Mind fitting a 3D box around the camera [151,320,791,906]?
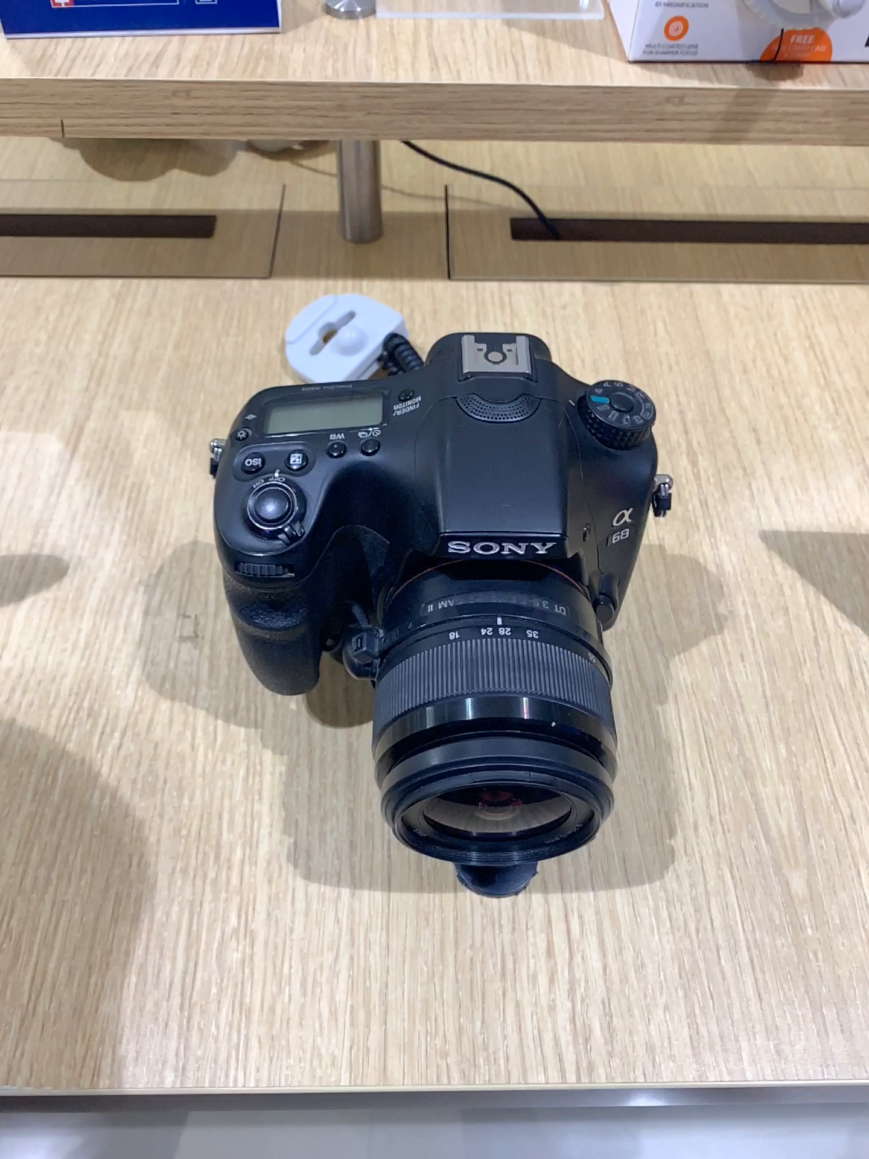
[{"bbox_3d":[0.005,0.009,0.262,0.130,0.100,0.135,-1,53,-2],"label":"camera"}]
